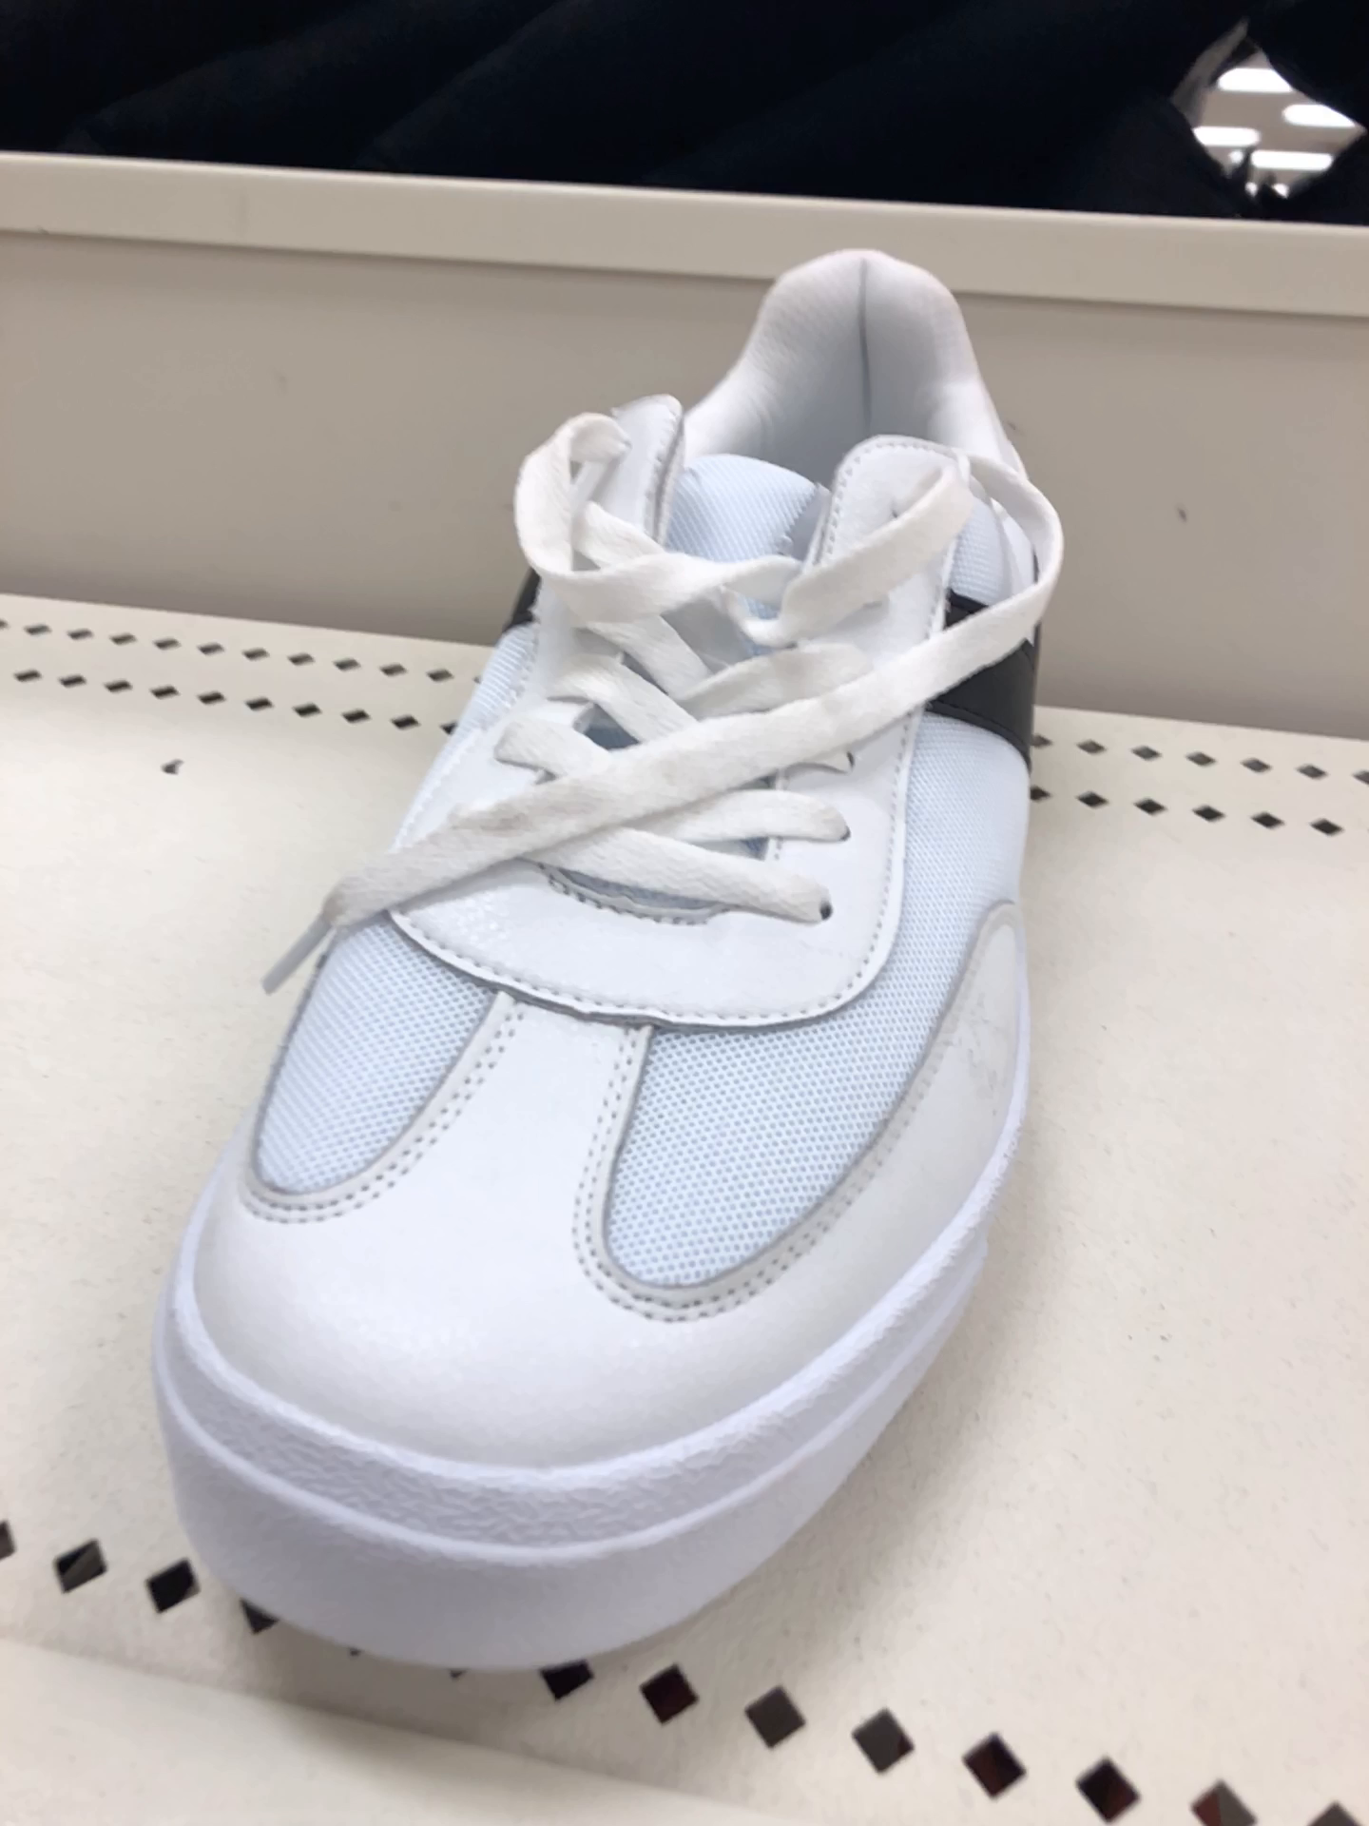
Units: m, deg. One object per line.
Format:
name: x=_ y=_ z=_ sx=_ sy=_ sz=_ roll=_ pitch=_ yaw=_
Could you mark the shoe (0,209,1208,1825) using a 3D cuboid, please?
shoe: x=0.027 y=-0.053 z=0.285 sx=0.113 sy=0.129 sz=0.373 roll=10 pitch=28 yaw=14
